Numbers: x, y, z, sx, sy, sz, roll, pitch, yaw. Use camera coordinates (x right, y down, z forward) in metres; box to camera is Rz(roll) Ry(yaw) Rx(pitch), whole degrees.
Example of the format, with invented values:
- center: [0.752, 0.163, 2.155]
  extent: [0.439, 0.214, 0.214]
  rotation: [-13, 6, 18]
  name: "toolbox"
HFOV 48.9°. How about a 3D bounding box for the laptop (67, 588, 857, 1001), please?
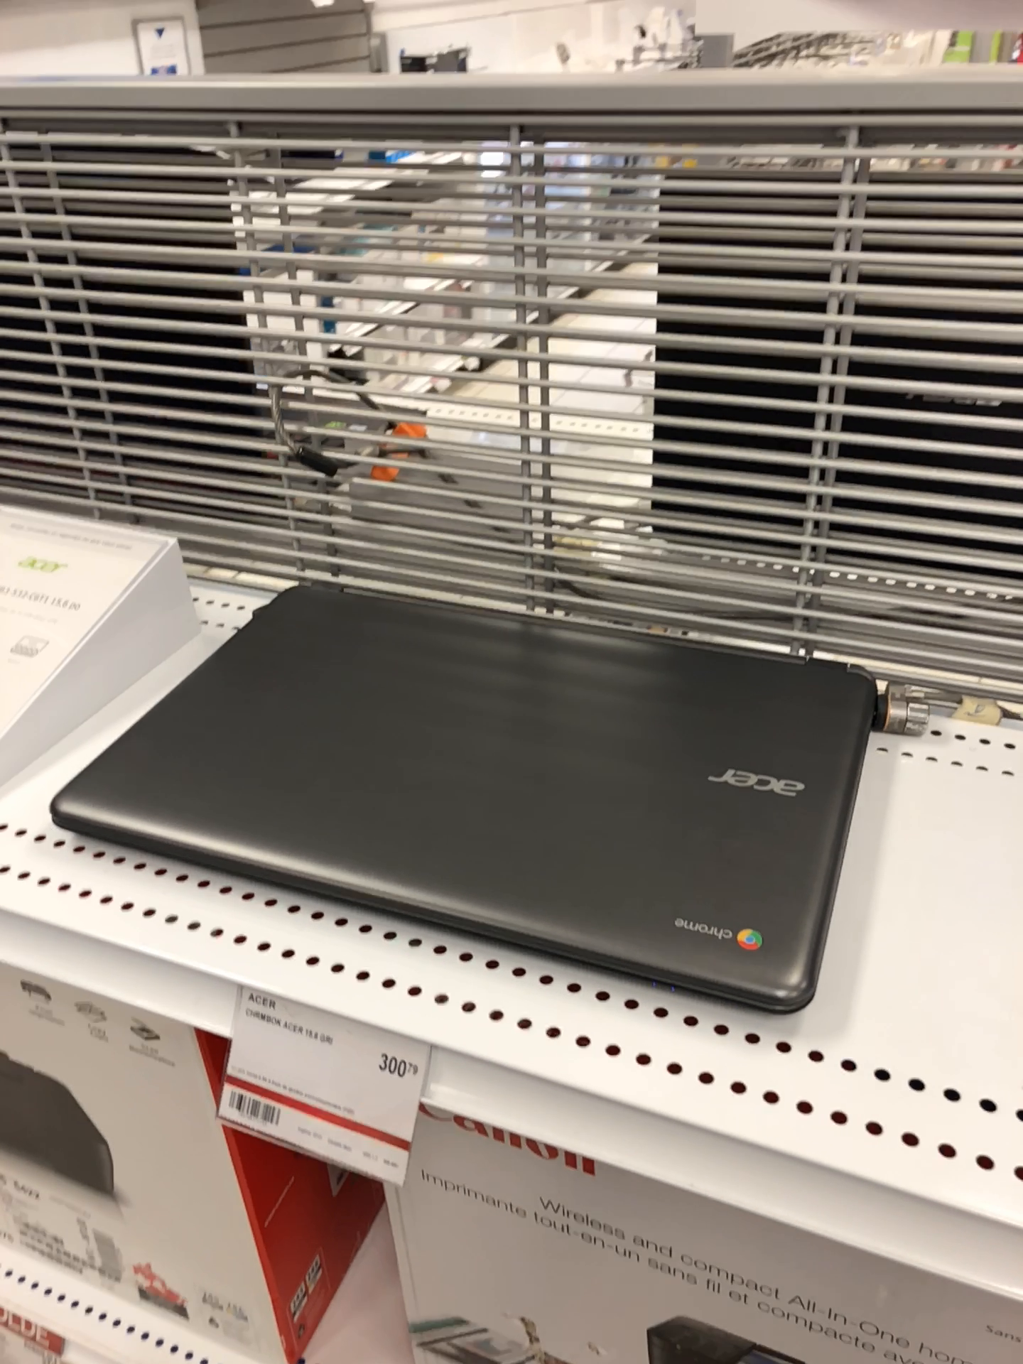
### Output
- center: [-0.018, 0.030, 0.597]
  extent: [0.367, 0.001, 0.238]
  rotation: [10, 35, 21]
  name: "laptop"
